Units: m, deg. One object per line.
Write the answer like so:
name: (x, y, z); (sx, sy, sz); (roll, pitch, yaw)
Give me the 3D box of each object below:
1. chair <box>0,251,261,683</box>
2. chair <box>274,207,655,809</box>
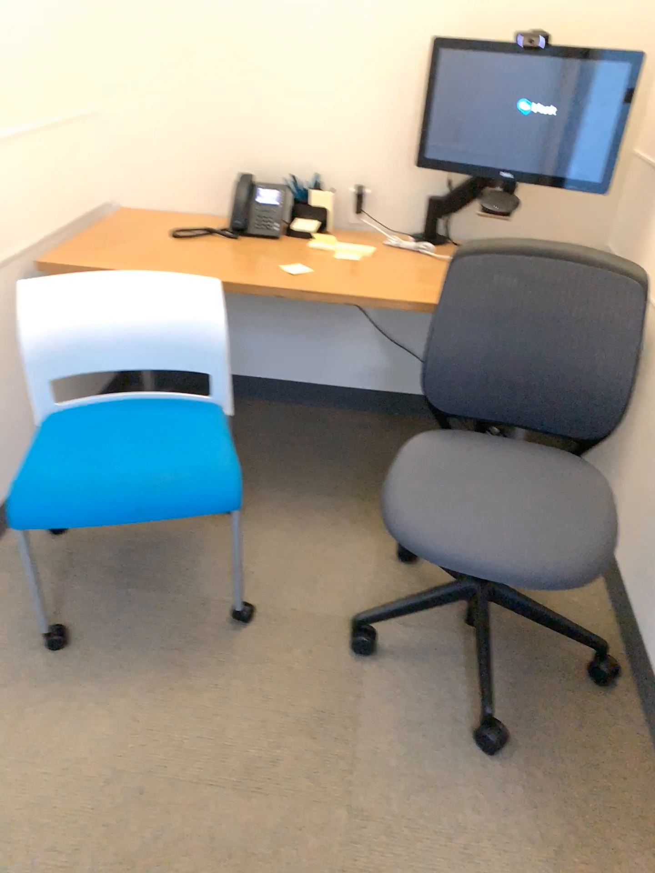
chair: (-0.466, 0.011, 1.625); (0.530, 0.686, 0.795); (-3, 32, -10)
chair: (0.426, 0.053, 1.611); (0.751, 0.885, 0.974); (15, 34, 17)
